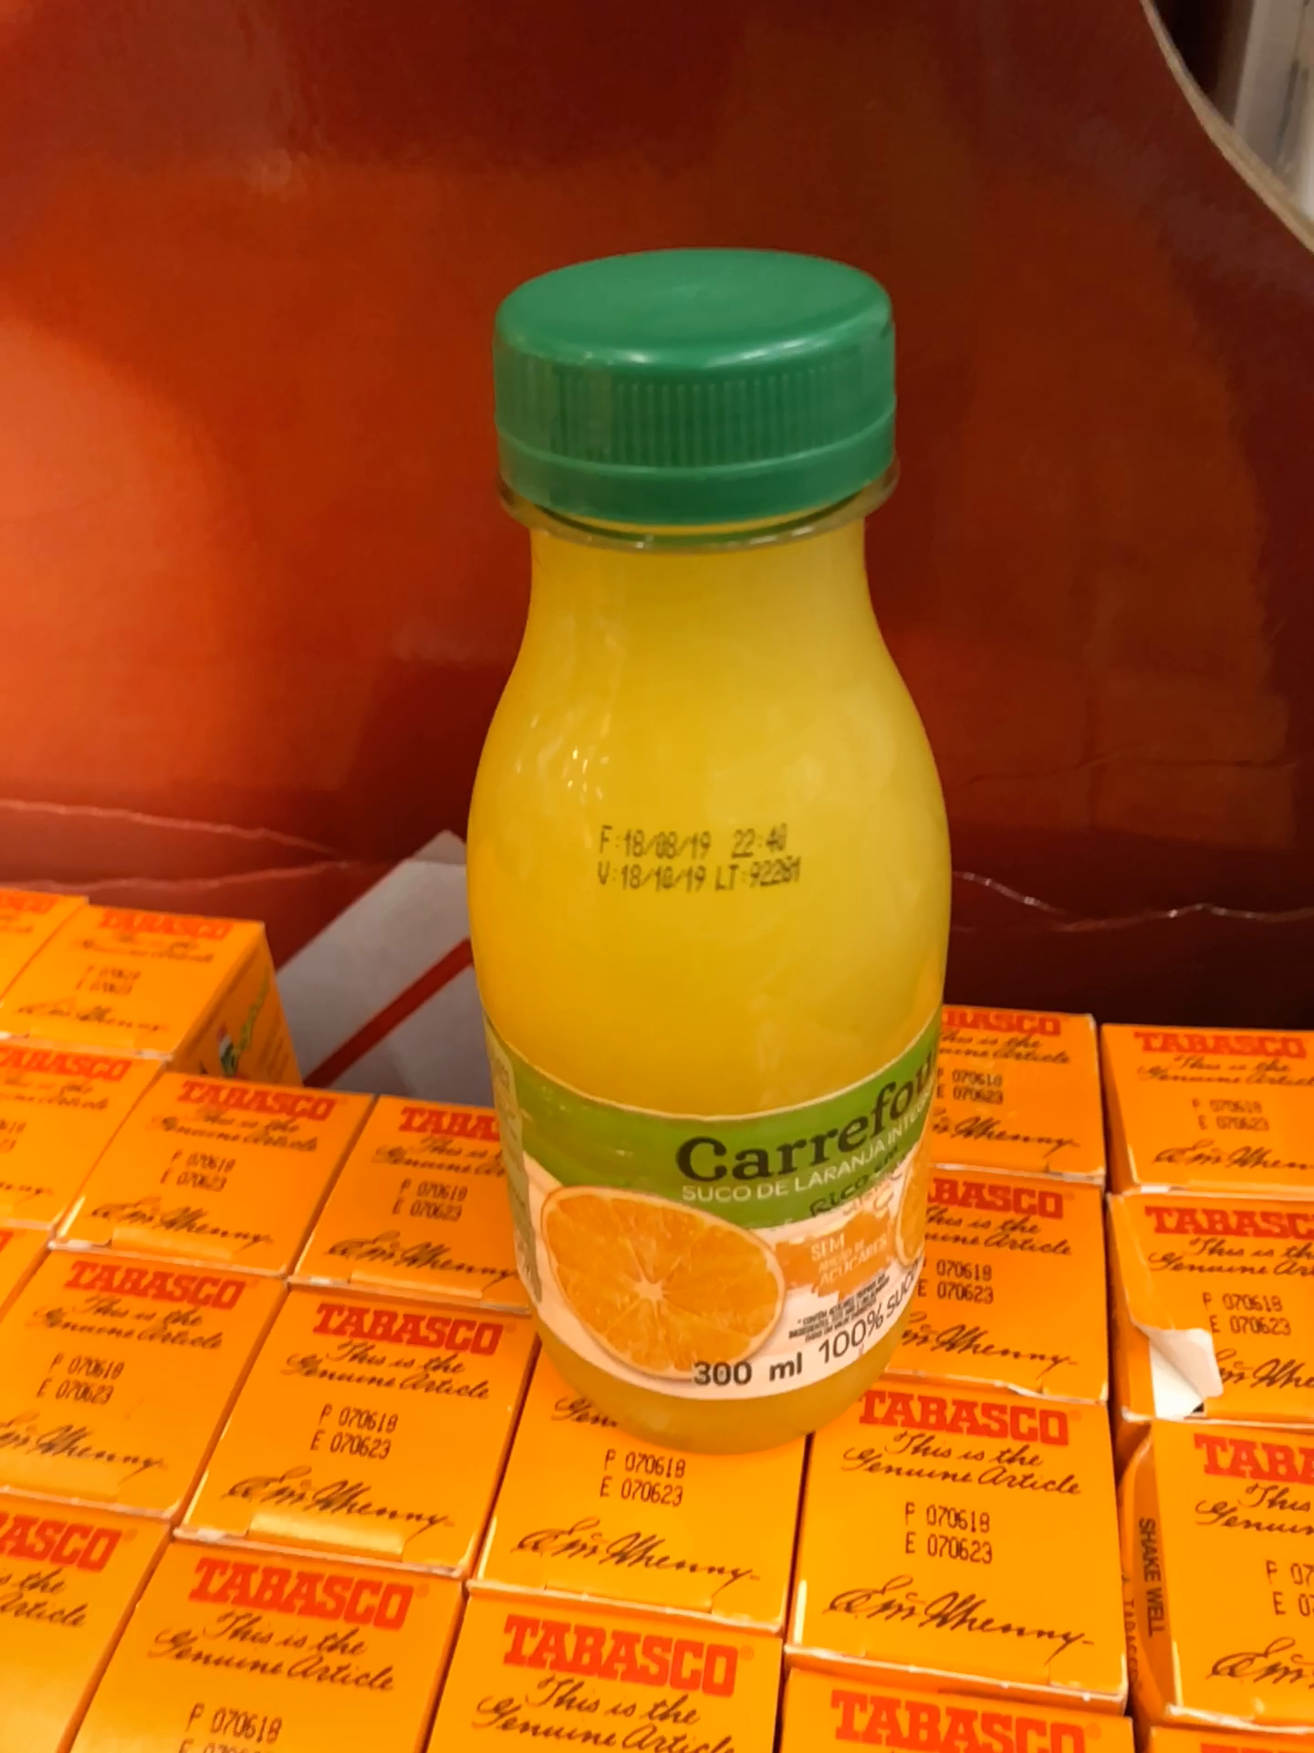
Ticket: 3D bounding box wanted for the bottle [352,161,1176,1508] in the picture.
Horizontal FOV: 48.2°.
[{"bbox_3d":[0.011,0.001,0.181,0.060,0.149,0.050,-19,38,-21],"label":"bottle"}]
